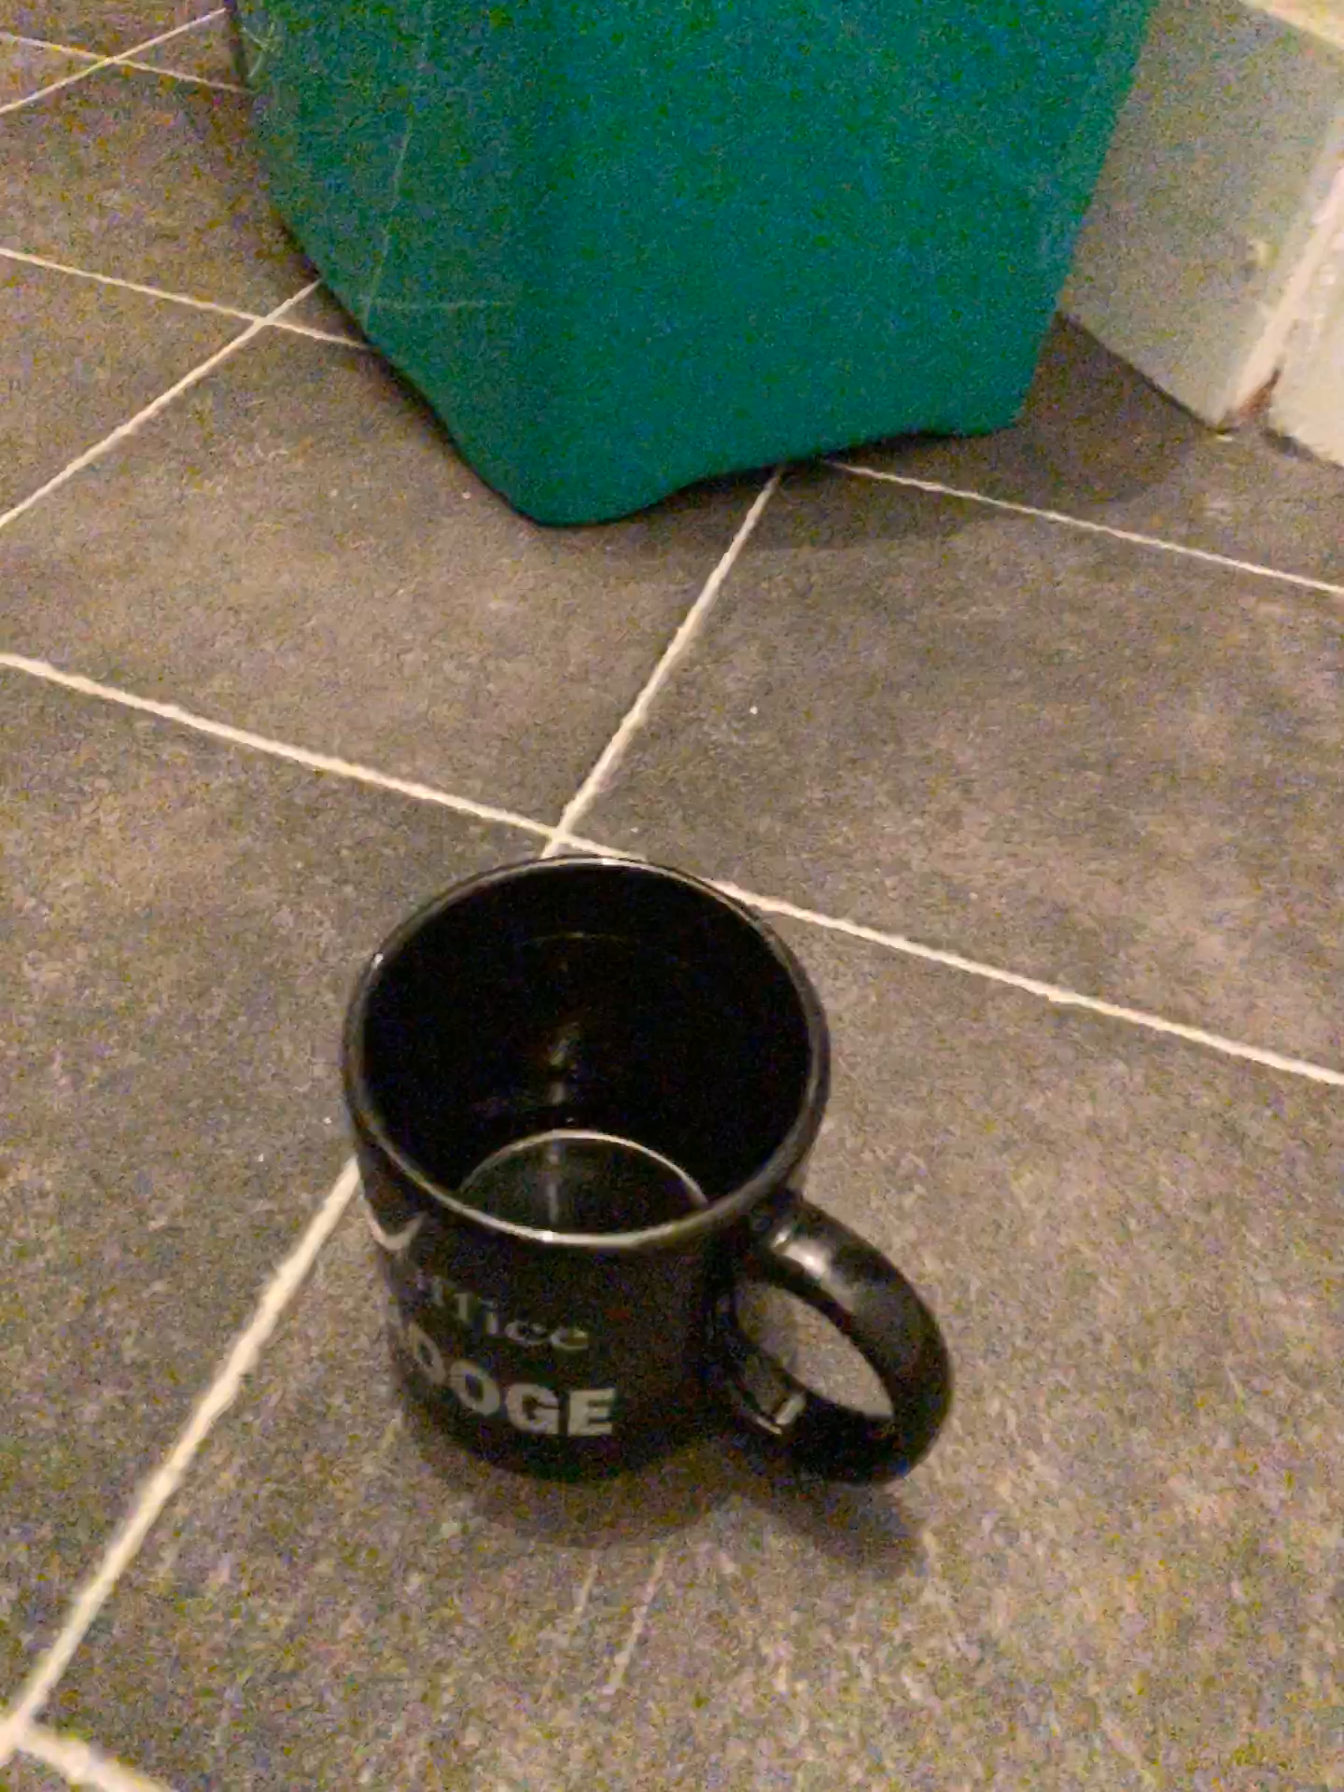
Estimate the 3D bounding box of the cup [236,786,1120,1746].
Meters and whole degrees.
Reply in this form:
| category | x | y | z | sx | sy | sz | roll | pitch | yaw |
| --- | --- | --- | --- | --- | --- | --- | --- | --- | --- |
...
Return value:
| category | x | y | z | sx | sy | sz | roll | pitch | yaw |
| --- | --- | --- | --- | --- | --- | --- | --- | --- | --- |
| cup | -0.004 | 0.069 | 0.261 | 0.117 | 0.115 | 0.080 | 33 | 52 | 22 |
